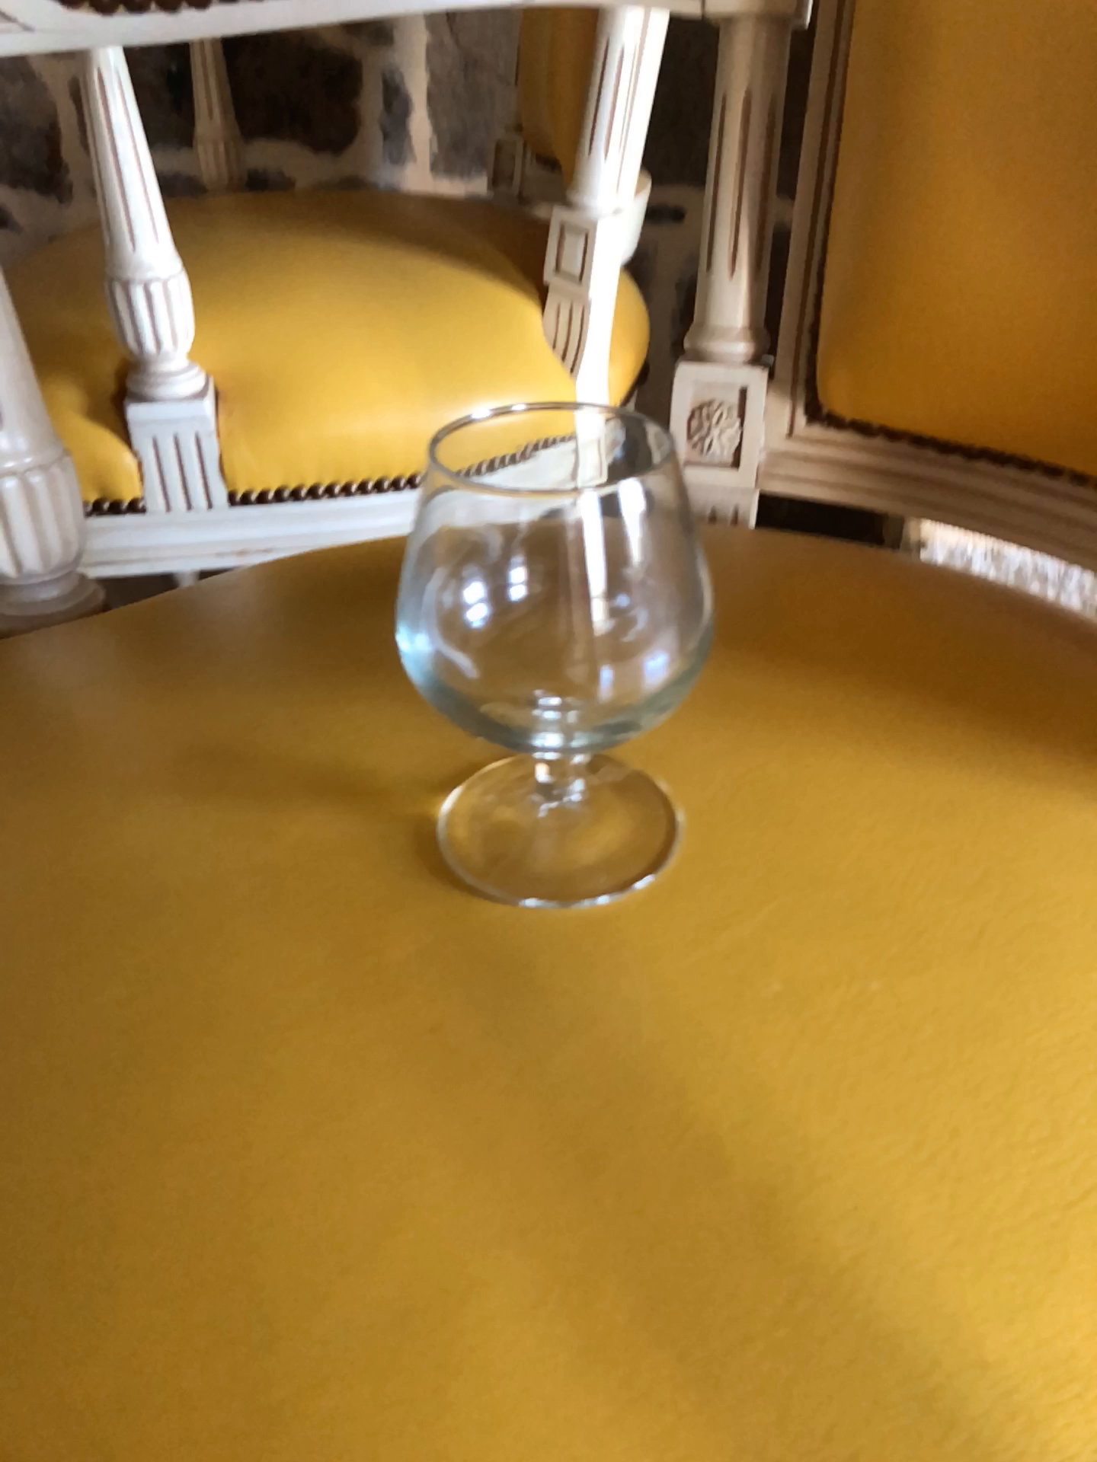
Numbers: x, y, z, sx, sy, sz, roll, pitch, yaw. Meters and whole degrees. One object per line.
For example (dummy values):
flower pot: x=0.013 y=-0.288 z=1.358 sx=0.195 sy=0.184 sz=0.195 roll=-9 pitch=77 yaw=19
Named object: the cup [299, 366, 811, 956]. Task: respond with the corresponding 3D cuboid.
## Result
cup: x=-0.003 y=-0.018 z=0.248 sx=0.080 sy=0.089 sz=0.070 roll=-9 pitch=34 yaw=-13
